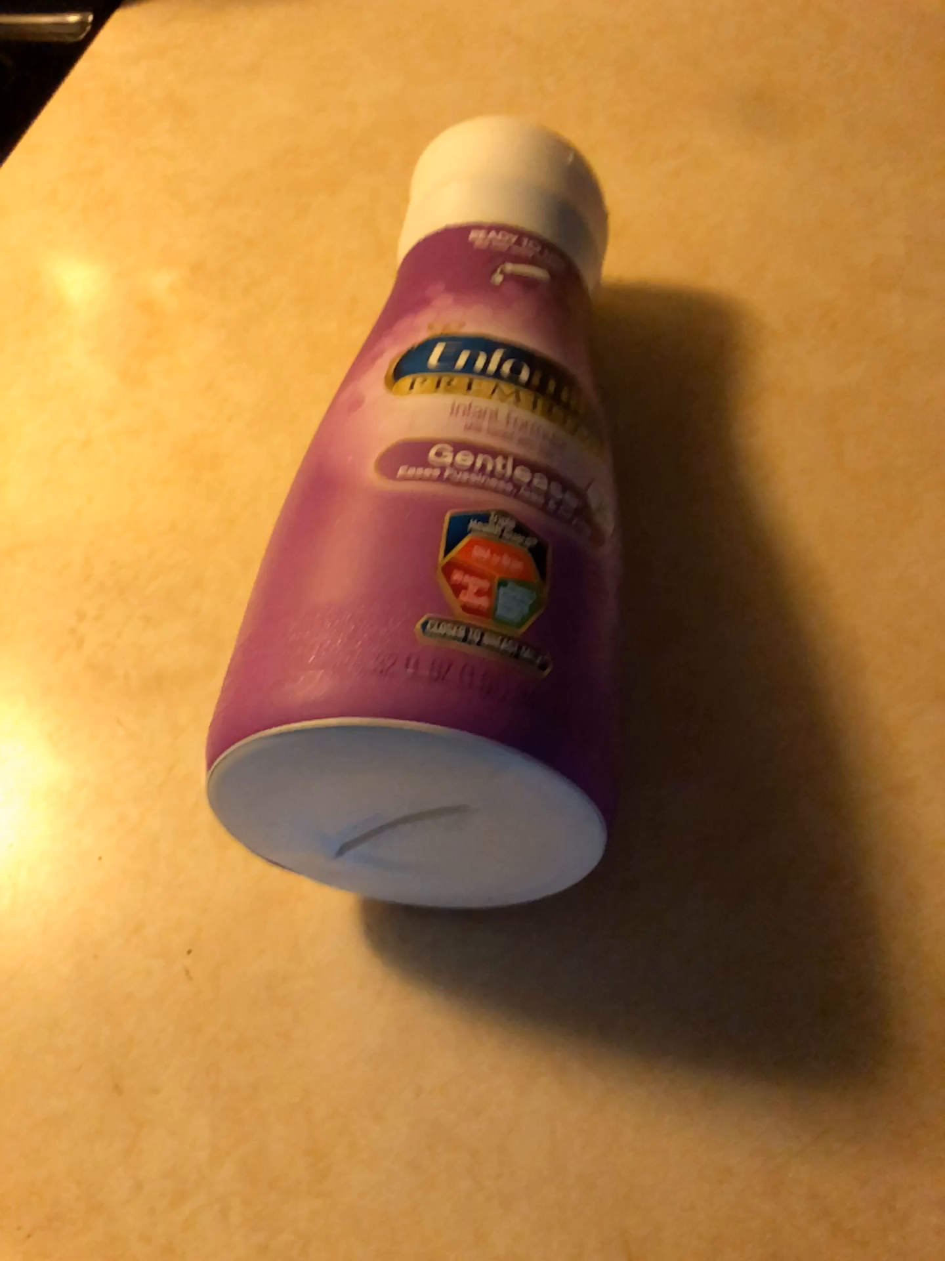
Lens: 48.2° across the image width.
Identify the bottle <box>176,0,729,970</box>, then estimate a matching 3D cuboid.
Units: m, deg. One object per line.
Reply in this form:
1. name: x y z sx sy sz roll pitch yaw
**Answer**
1. bottle: 0.006 -0.069 0.288 0.090 0.100 0.280 14 56 -6
